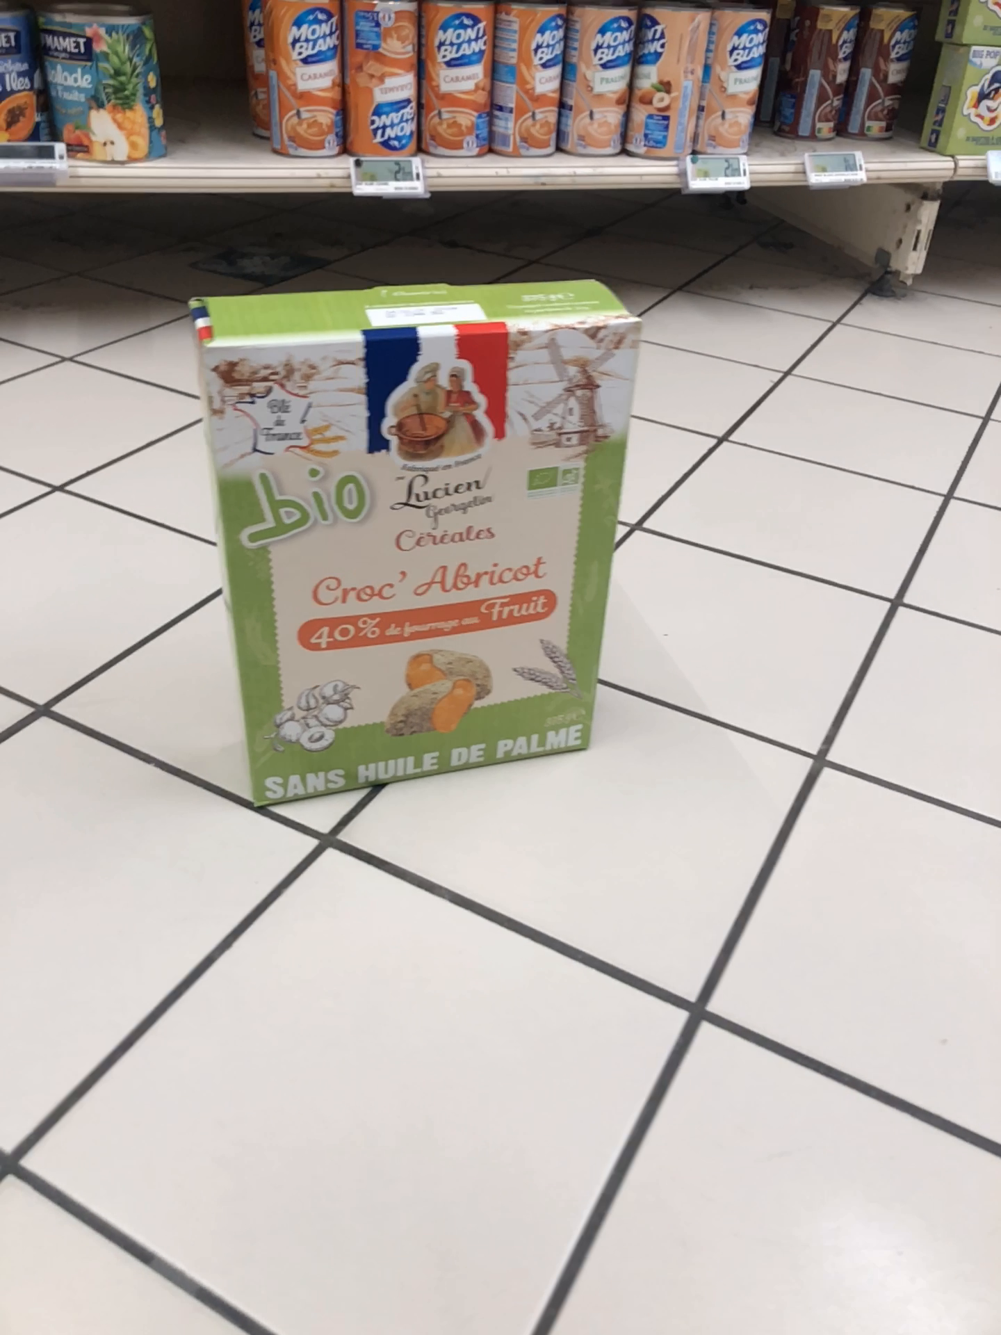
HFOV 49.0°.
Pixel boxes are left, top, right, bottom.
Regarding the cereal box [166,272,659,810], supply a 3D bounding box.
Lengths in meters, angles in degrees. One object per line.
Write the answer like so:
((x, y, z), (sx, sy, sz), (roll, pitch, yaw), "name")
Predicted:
((-0.044, -0.059, 0.539), (0.200, 0.238, 0.070), (-8, 36, -17), "cereal box")
